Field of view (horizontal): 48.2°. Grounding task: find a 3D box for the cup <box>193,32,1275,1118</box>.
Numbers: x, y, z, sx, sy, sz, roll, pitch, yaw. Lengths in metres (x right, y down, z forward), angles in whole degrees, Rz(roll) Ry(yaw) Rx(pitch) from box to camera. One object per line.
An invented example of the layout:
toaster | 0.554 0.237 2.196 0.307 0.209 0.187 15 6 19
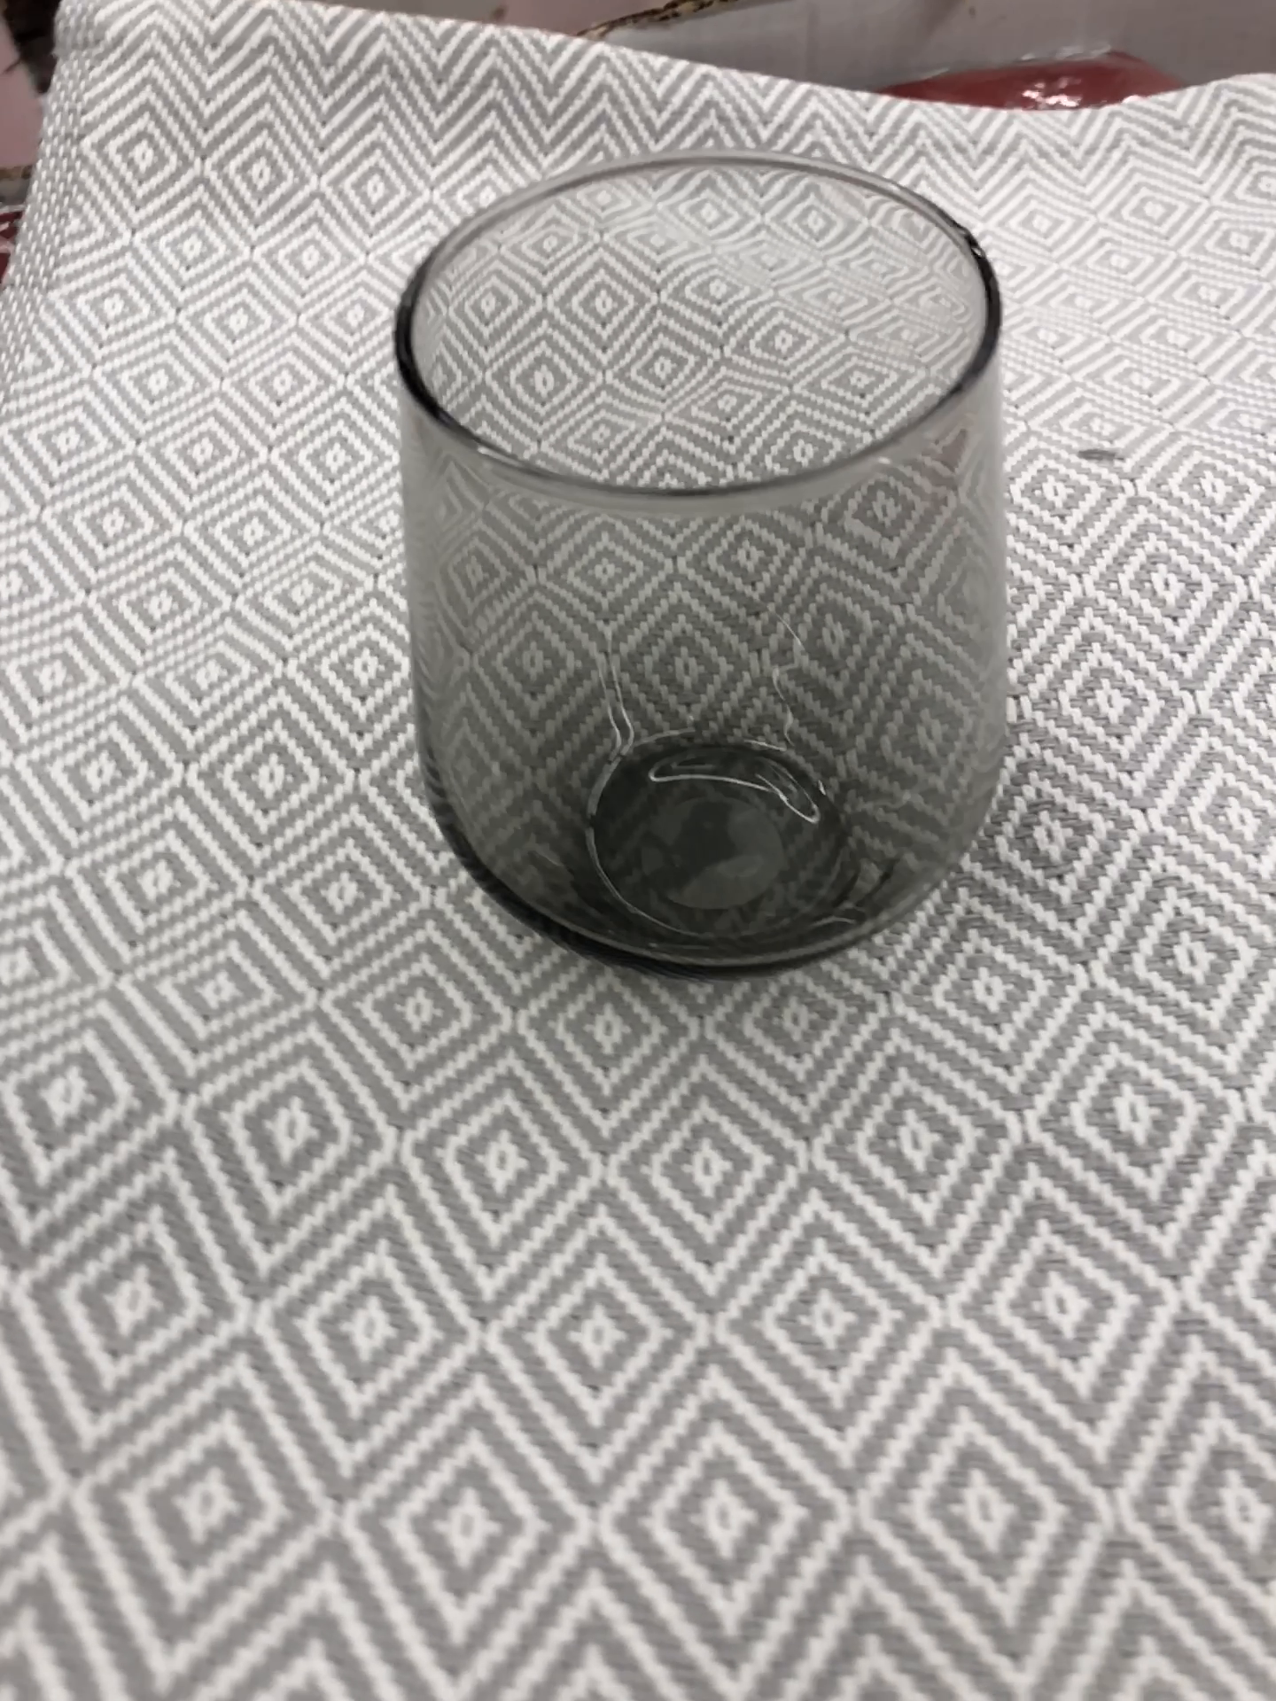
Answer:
cup | 0.012 -0.037 0.178 0.080 0.080 0.080 -1 50 1
